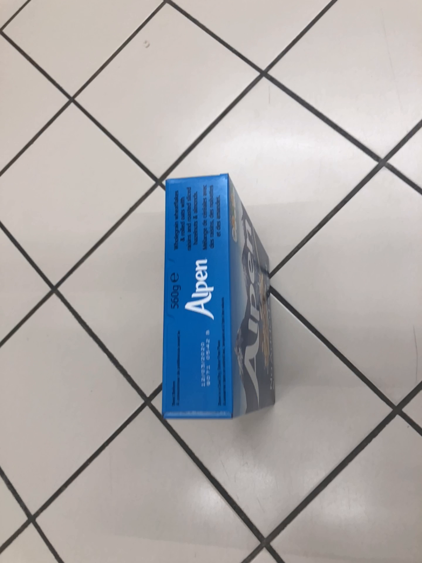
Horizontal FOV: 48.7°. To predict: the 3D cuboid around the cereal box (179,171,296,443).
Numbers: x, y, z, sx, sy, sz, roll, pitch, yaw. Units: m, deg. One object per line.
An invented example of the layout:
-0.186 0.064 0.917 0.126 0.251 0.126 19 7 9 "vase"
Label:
0.034 0.037 0.420 0.060 0.230 0.180 -4 77 13 "cereal box"
